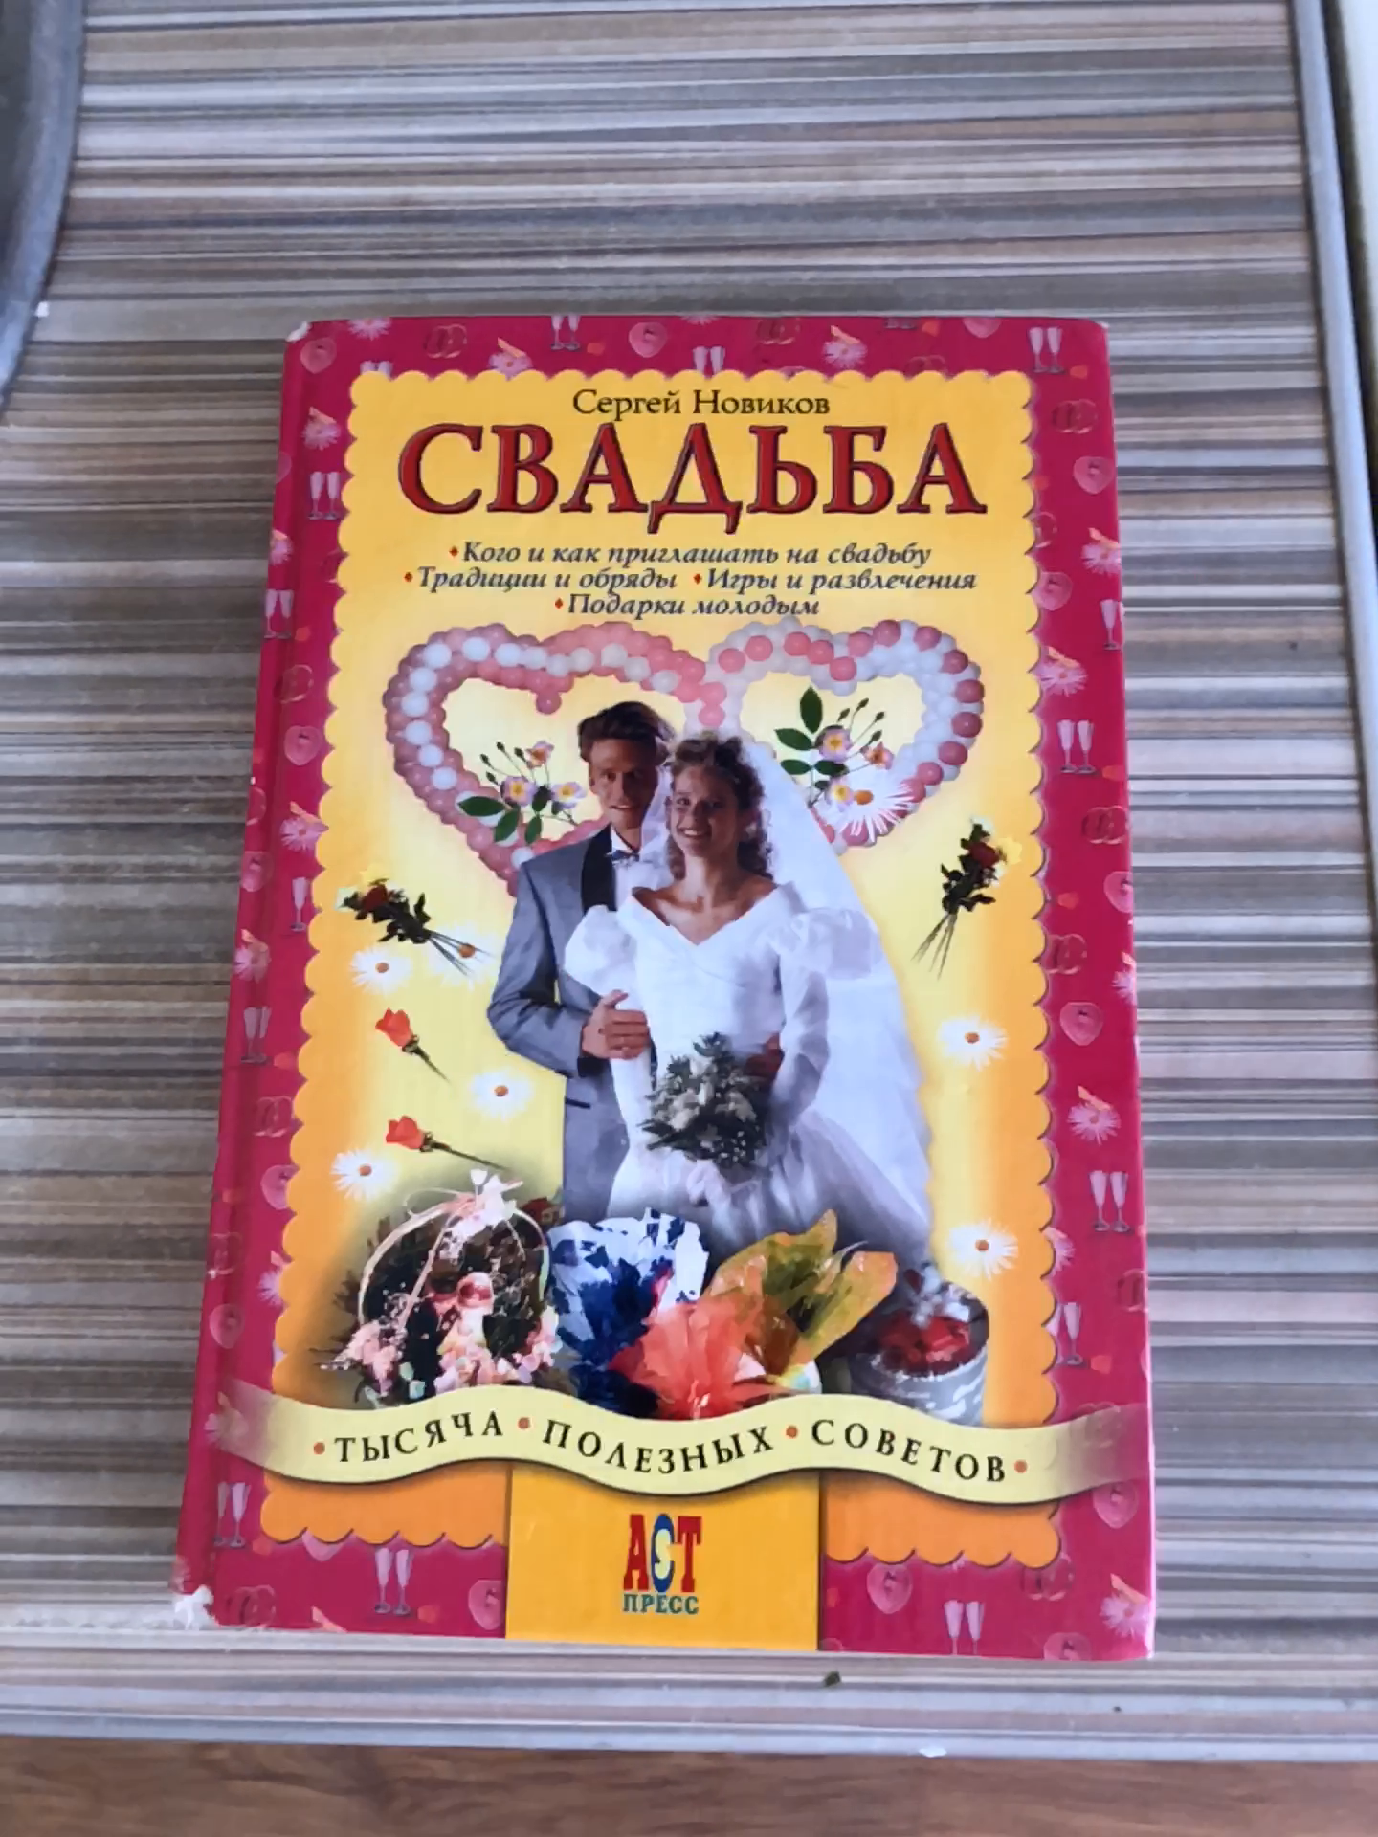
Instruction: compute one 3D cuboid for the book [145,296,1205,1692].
[{"bbox_3d":[-0.001,0.002,0.249,0.150,0.020,0.220,1,77,2],"label":"book"}]
